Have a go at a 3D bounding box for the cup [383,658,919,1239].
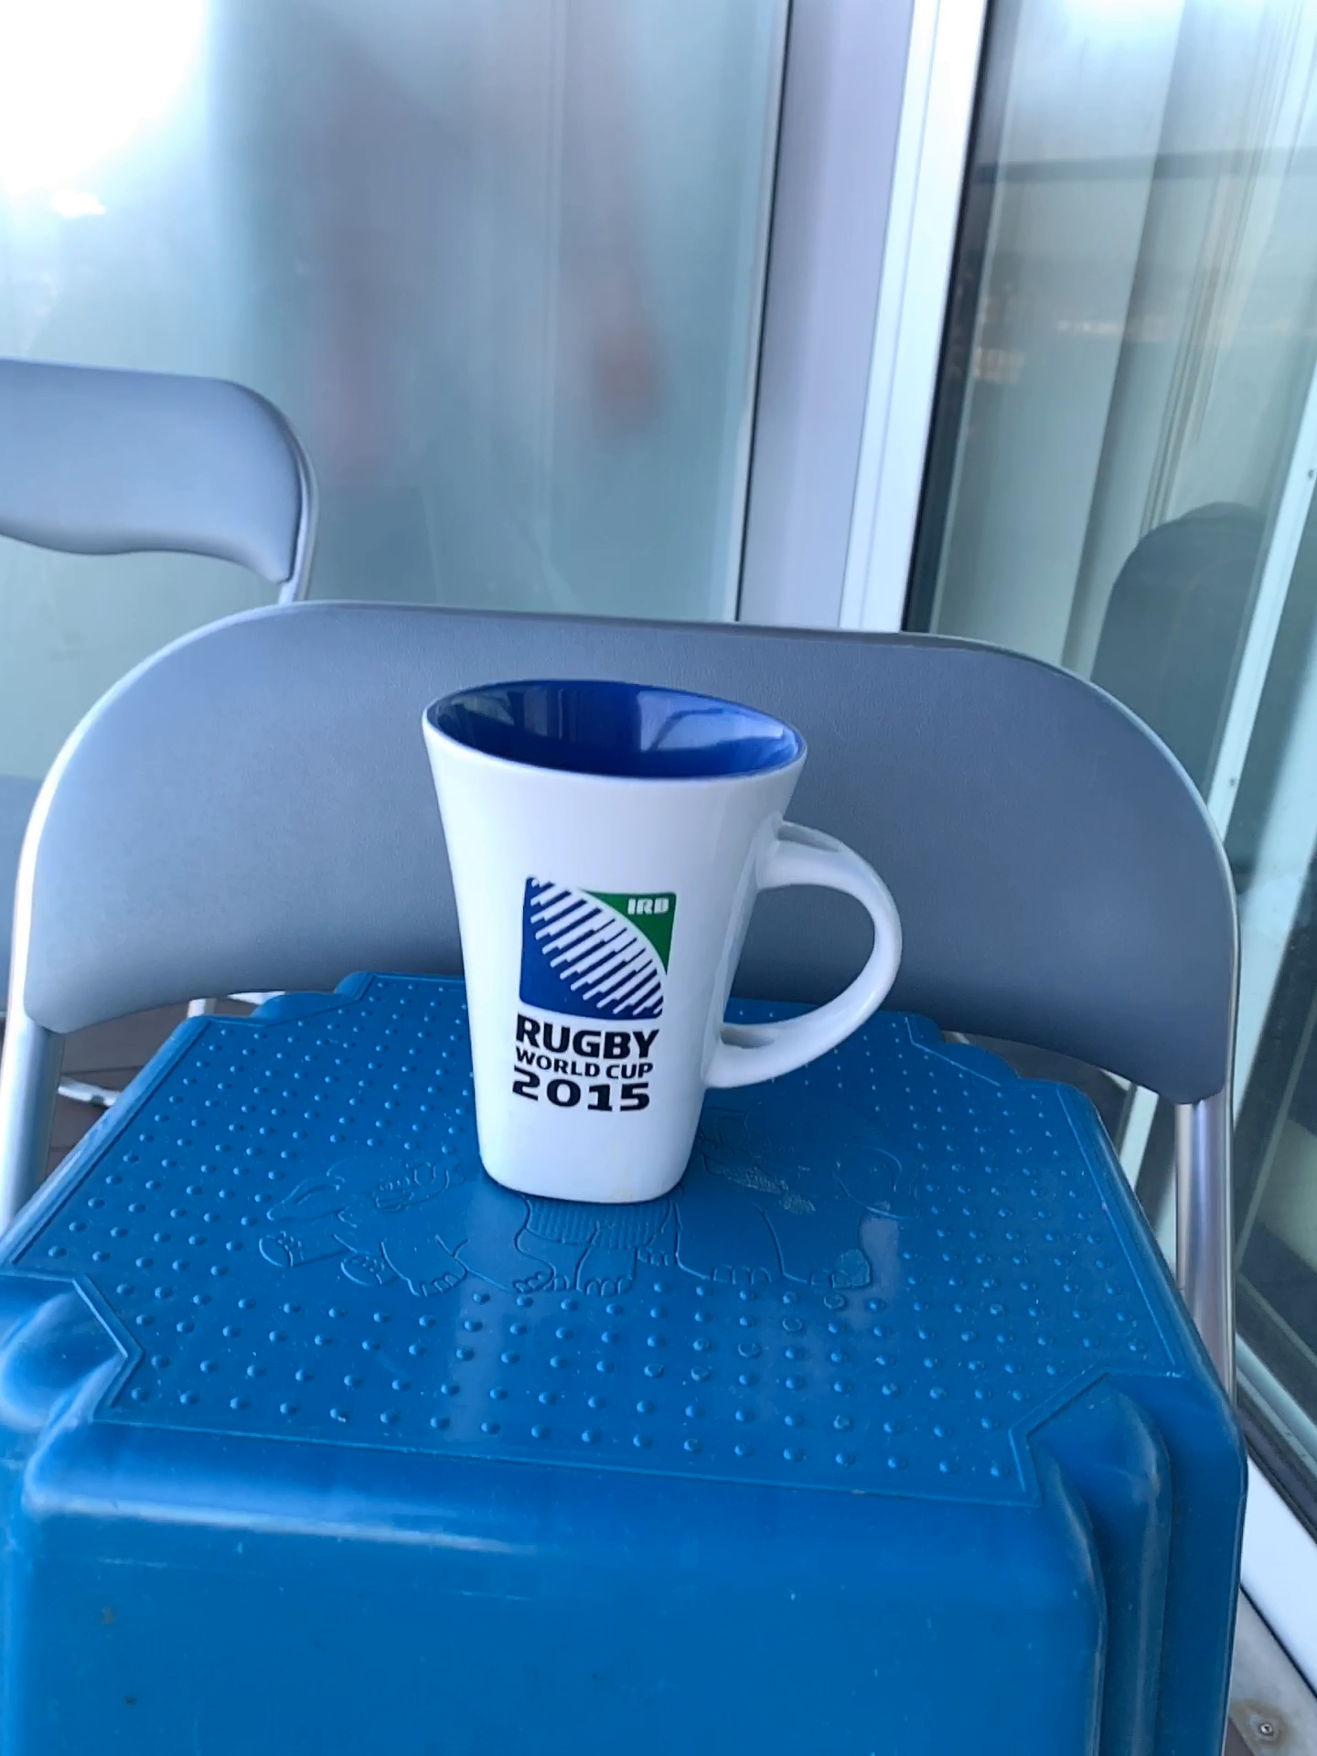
[{"bbox_3d":[-0.003,0.013,0.328,0.107,0.106,0.083,4,23,1],"label":"cup"}]
